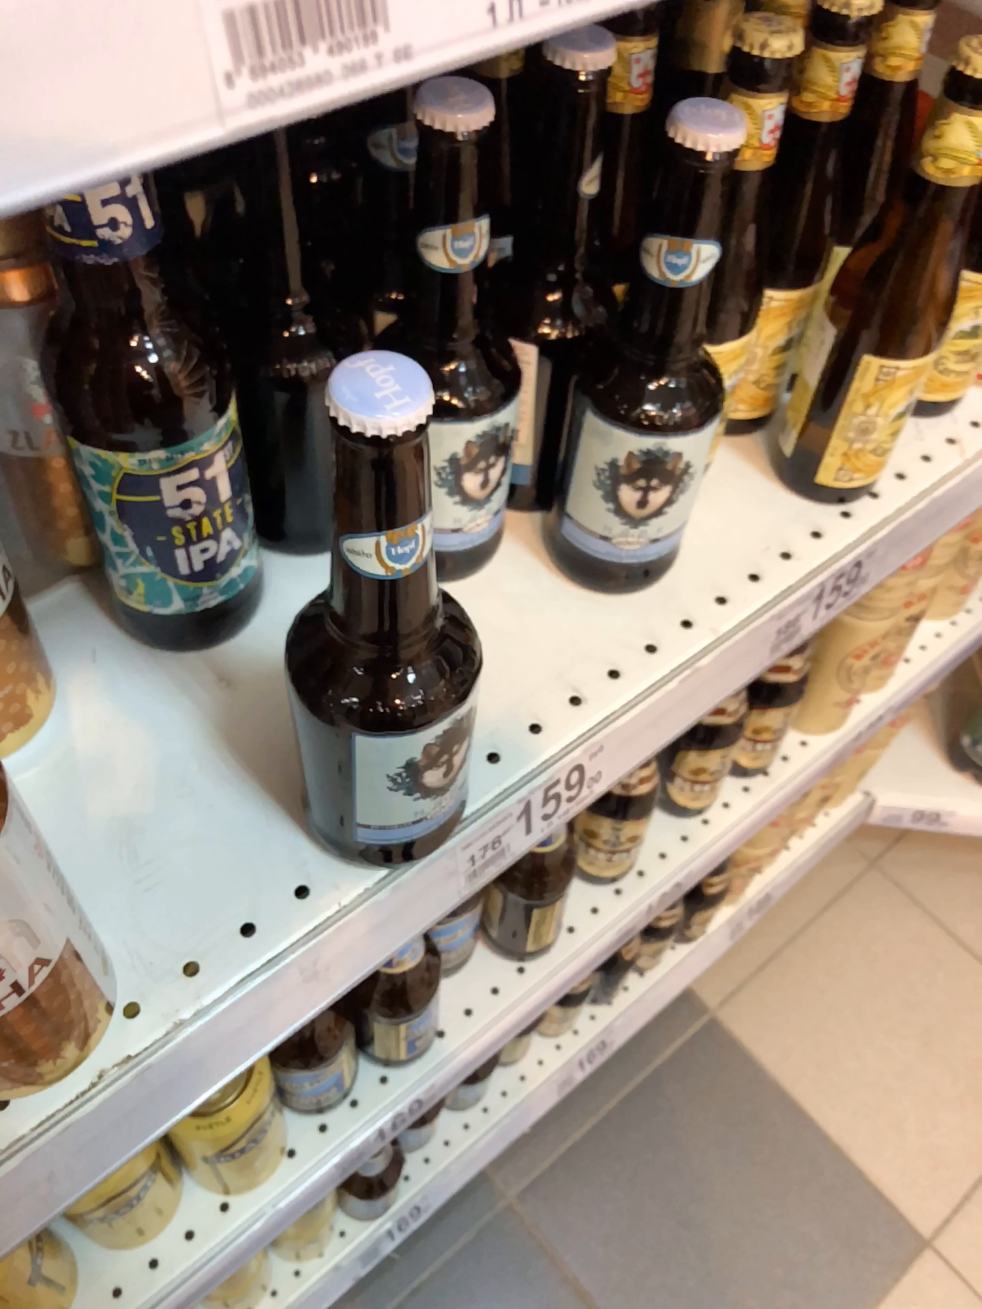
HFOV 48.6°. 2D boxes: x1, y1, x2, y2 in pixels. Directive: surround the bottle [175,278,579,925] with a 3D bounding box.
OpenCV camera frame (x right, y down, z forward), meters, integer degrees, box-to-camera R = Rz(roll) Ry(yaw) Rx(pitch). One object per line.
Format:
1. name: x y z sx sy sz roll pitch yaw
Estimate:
1. bottle: -0.038 -0.002 0.374 0.070 0.219 0.080 39 58 22
